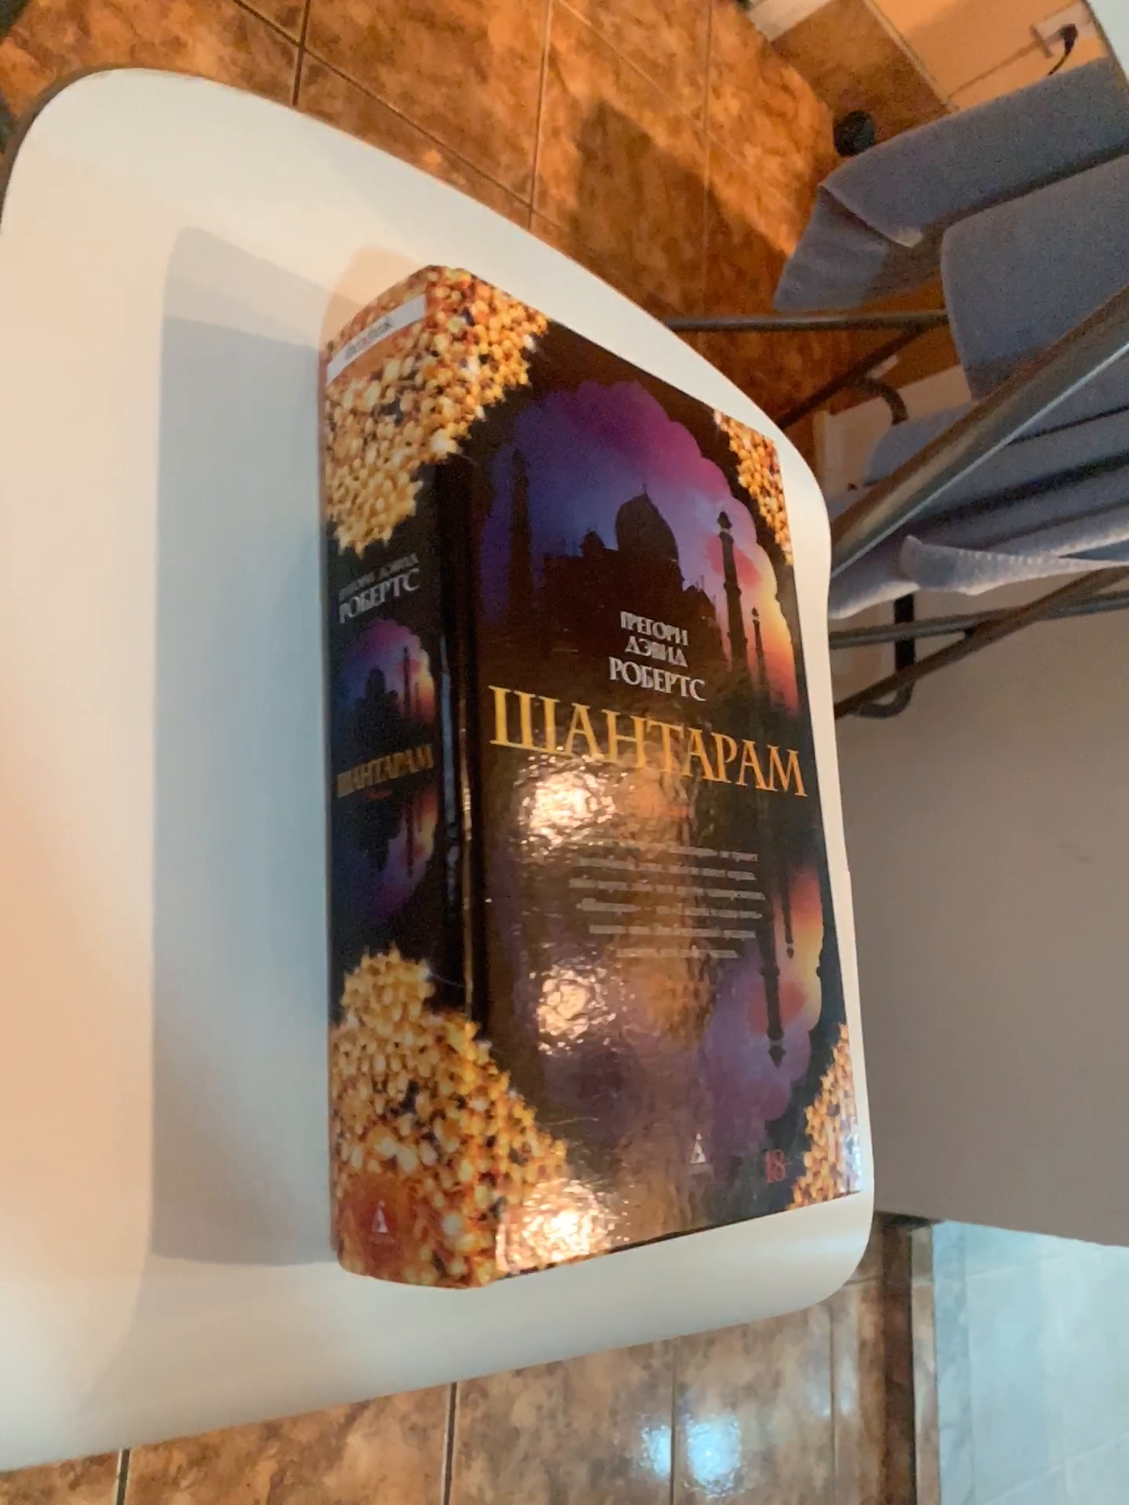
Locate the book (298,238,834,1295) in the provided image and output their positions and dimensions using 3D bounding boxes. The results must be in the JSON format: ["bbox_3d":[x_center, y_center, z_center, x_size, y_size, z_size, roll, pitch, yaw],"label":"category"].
[{"bbox_3d":[0.004,0.004,0.318,0.146,0.044,0.236,10,73,-43],"label":"book"}]
